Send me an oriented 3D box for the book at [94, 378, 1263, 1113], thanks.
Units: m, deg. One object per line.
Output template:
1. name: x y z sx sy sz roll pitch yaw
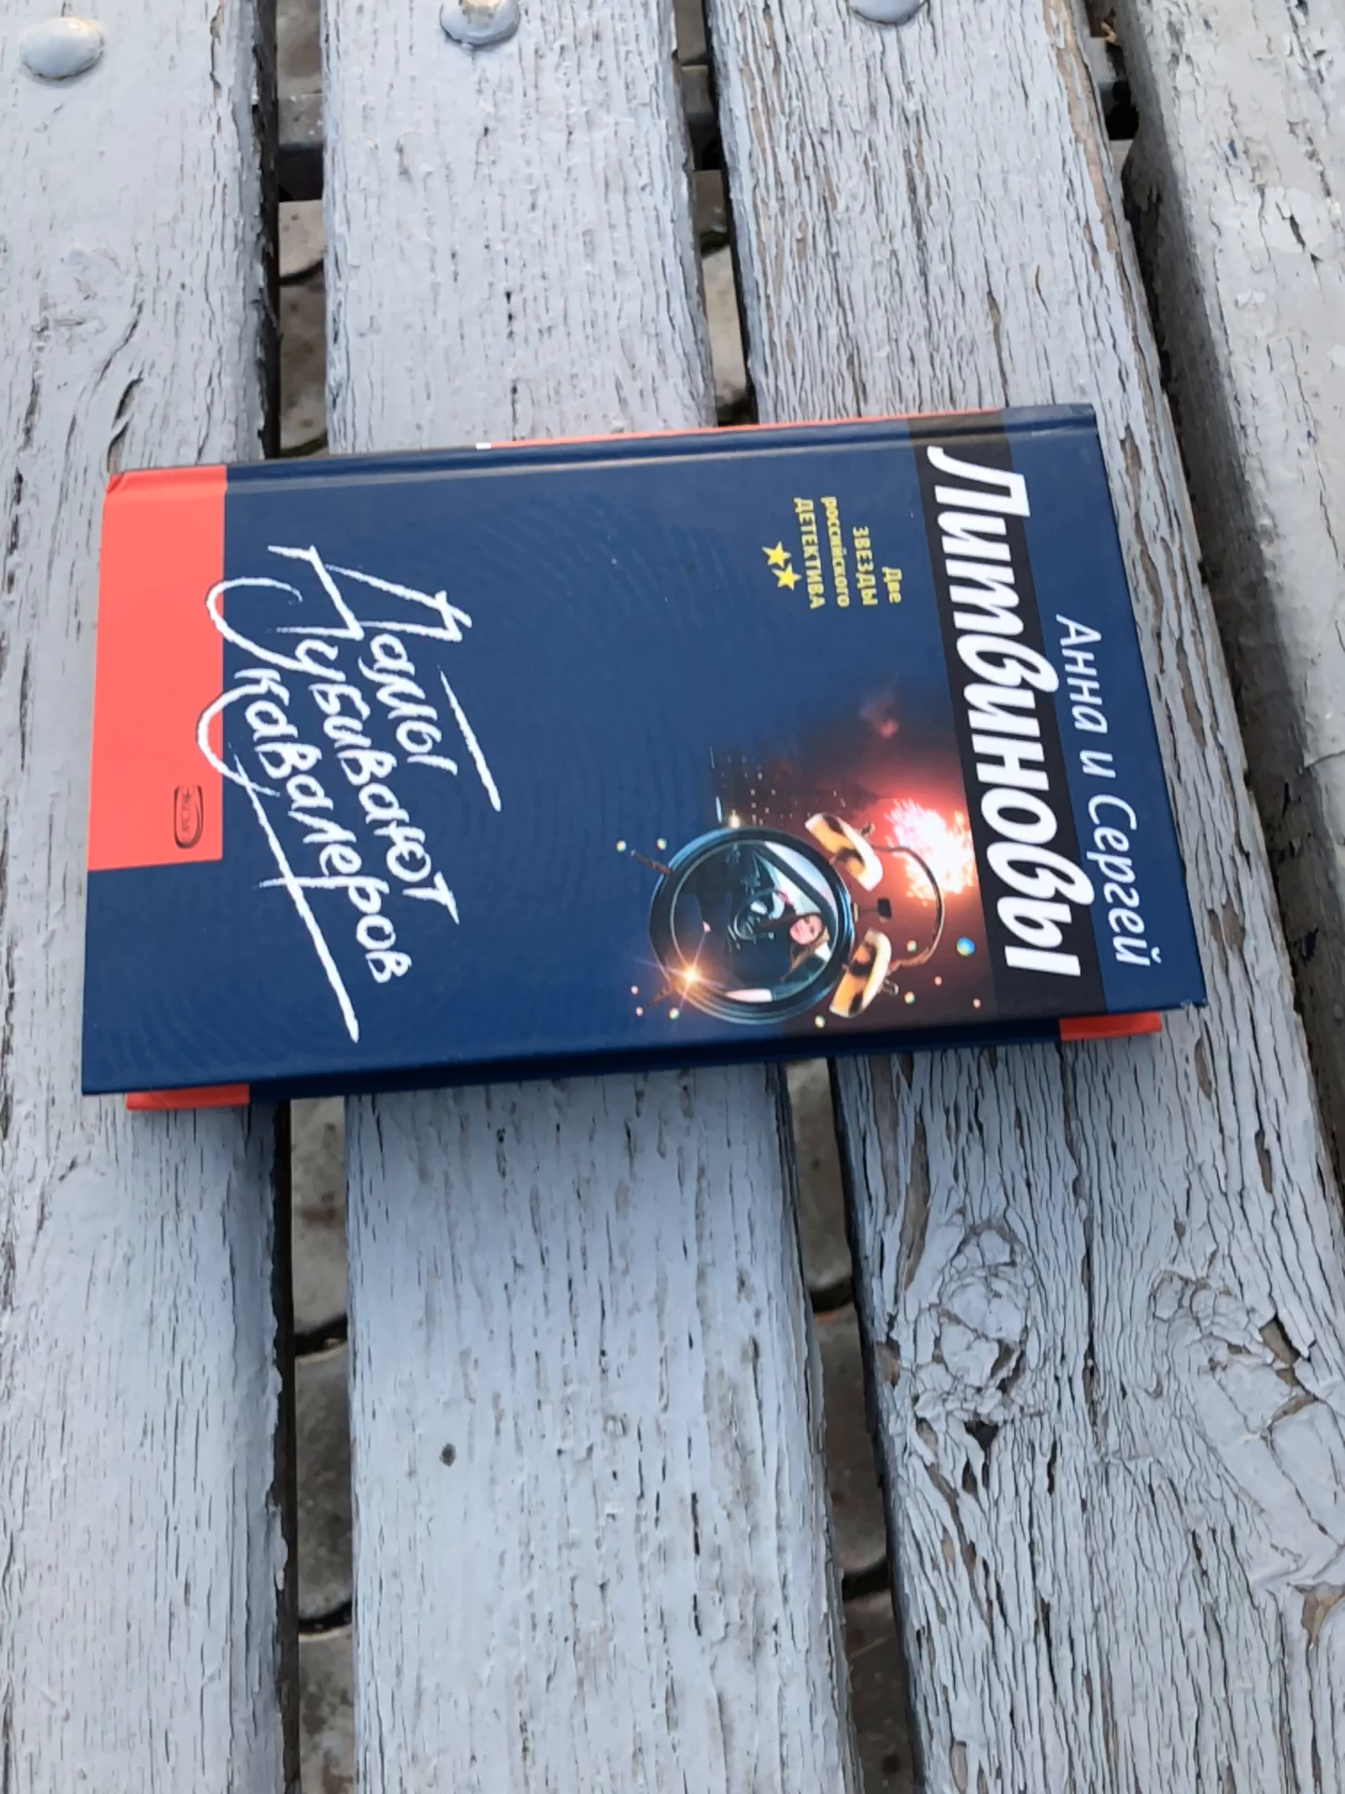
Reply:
1. book: -0.003 -0.032 0.299 0.208 0.030 0.130 -4 73 -1
